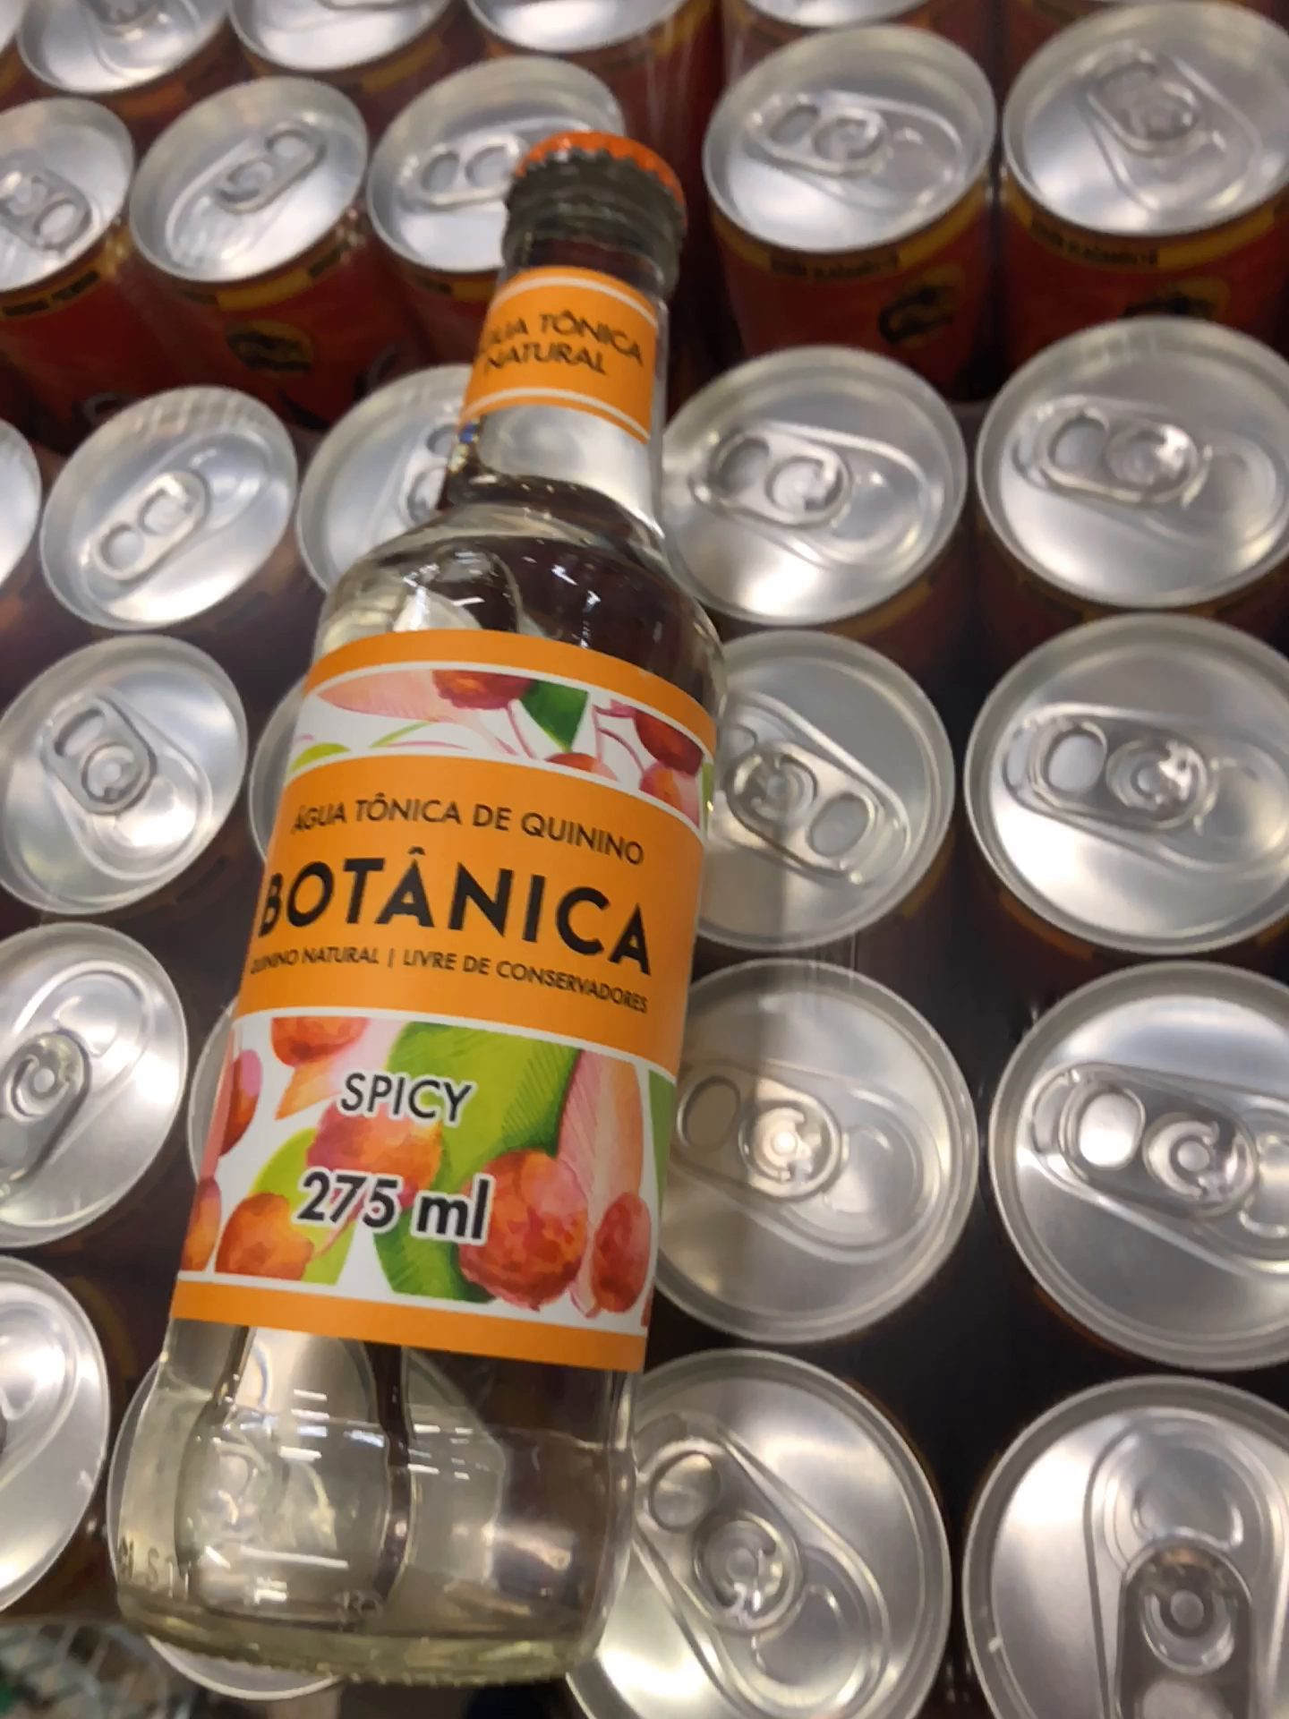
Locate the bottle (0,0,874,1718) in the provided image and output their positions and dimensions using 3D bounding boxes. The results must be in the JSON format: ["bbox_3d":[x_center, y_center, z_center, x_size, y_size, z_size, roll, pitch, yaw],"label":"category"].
[{"bbox_3d":[-0.015,-0.015,0.180,0.070,0.050,0.210,3,74,13],"label":"bottle"}]
